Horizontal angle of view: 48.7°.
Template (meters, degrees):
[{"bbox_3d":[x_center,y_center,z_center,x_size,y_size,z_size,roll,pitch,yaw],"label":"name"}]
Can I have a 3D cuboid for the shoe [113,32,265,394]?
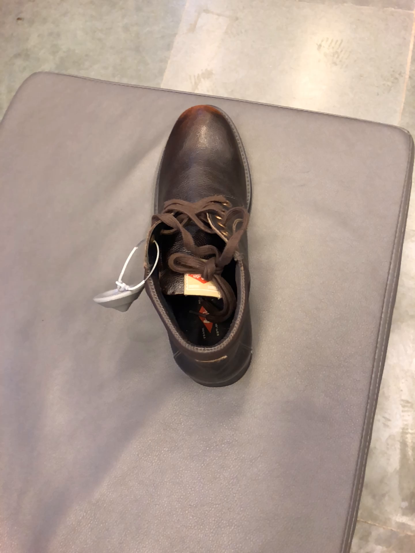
[{"bbox_3d":[-0.009,-0.045,0.452,0.108,0.178,0.299,-4,72,6],"label":"shoe"}]
